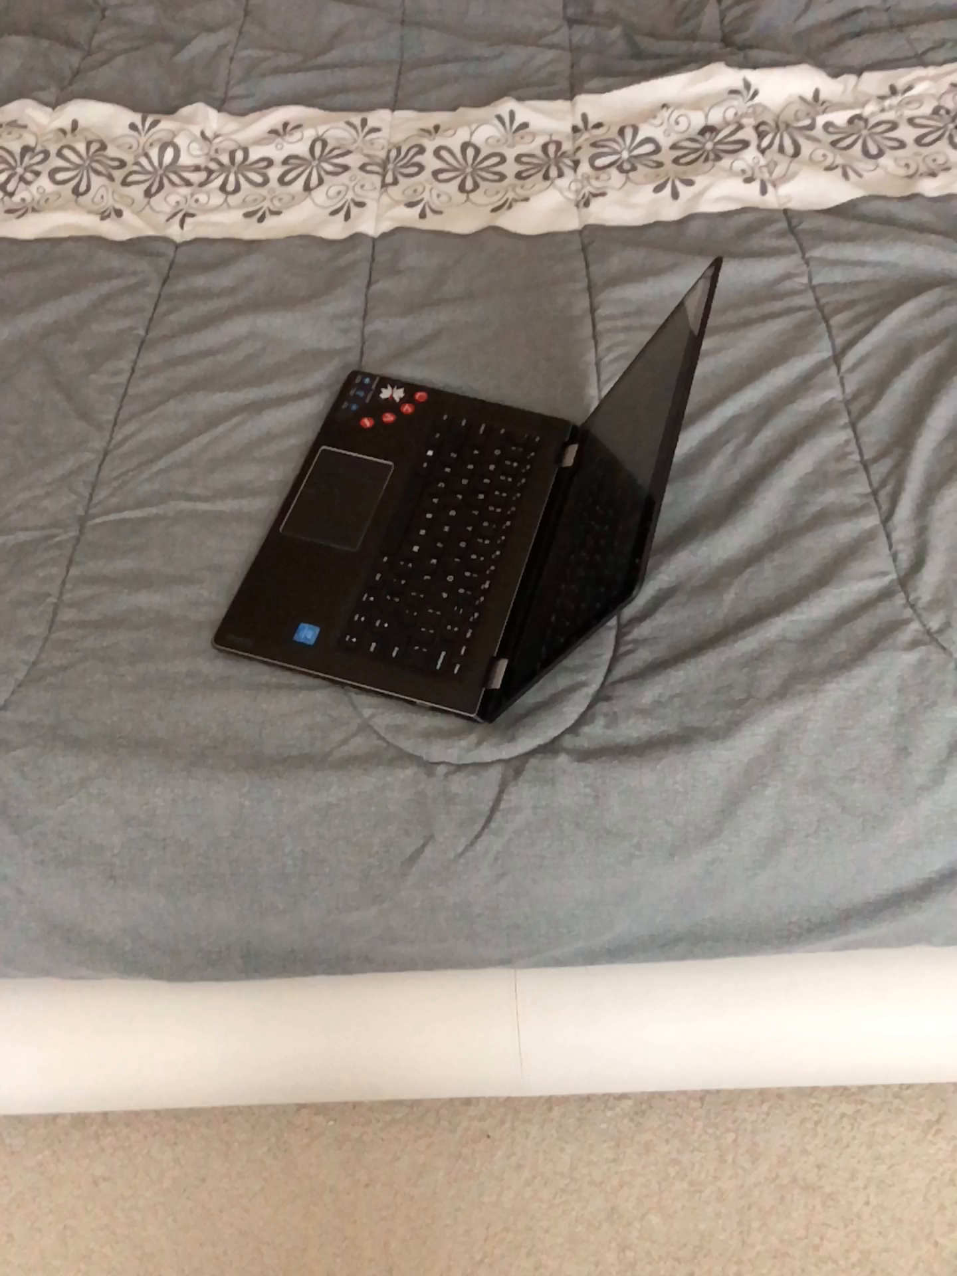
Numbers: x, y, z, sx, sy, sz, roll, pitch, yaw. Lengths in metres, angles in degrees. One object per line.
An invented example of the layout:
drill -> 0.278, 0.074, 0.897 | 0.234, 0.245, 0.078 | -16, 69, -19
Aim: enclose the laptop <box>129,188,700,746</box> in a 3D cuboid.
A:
laptop -> -0.025, -0.157, 0.917 | 0.351, 0.214, 0.362 | 14, 58, 10
